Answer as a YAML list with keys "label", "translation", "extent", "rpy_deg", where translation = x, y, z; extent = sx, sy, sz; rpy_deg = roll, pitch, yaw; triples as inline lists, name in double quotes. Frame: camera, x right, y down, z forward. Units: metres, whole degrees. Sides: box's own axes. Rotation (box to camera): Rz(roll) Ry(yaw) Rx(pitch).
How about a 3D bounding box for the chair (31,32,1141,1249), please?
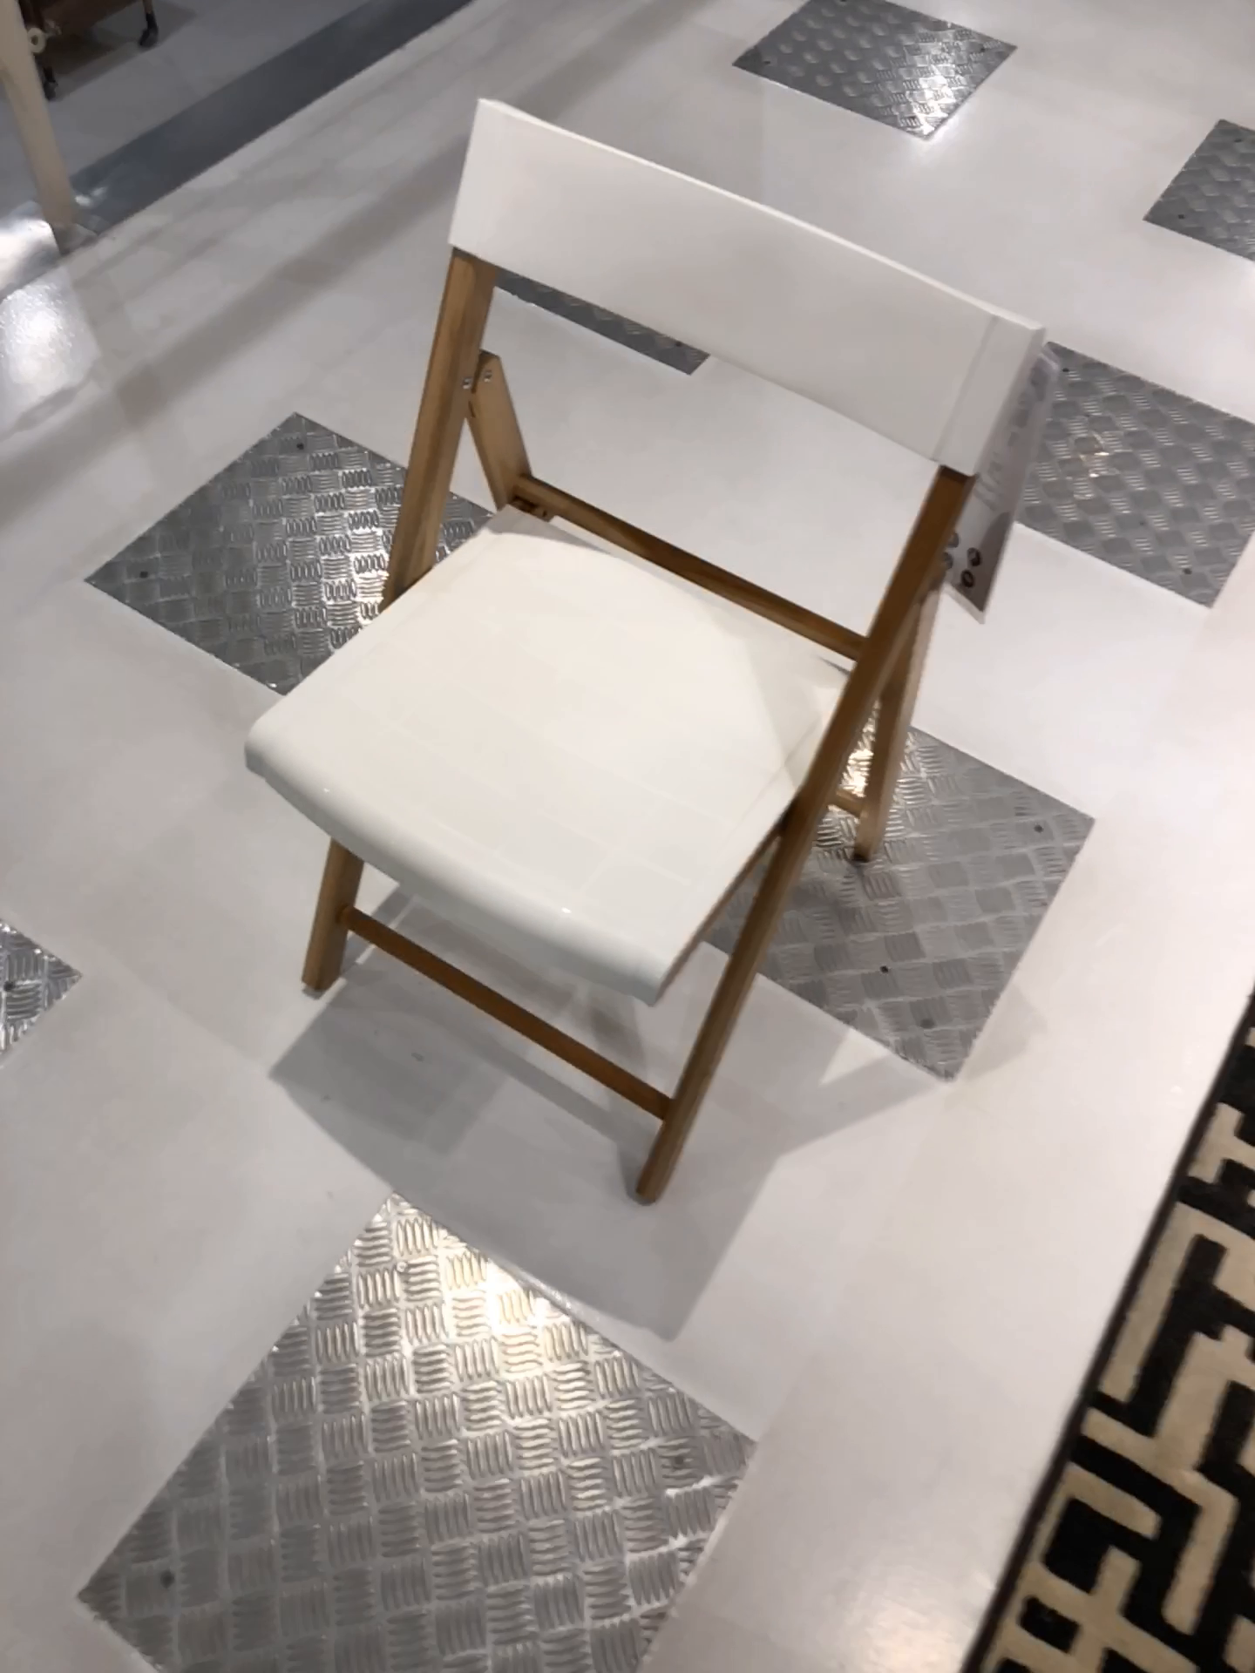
- label: "chair"
  translation: [-0.013, -0.125, 1.147]
  extent: [0.471, 0.706, 0.552]
  rpy_deg: [28, 58, 15]
